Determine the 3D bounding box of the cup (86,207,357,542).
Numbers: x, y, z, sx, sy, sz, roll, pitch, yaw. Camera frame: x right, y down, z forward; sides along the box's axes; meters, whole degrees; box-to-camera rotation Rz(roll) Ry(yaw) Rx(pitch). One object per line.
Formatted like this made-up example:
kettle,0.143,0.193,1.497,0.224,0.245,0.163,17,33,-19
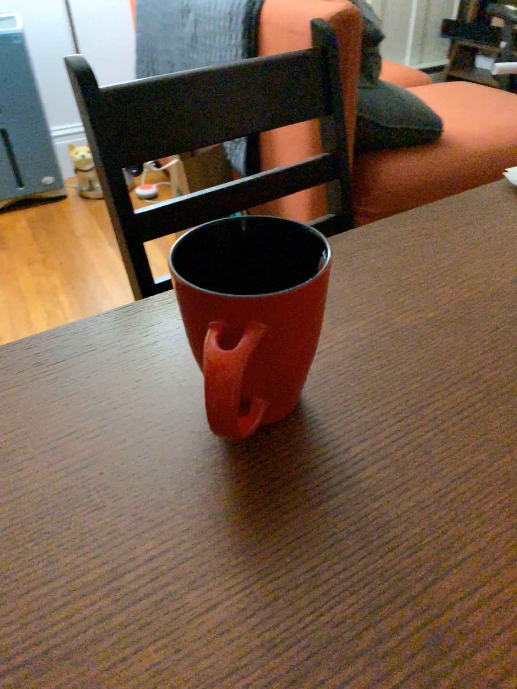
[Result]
cup,-0.005,0.007,0.273,0.090,0.099,0.131,7,39,12
